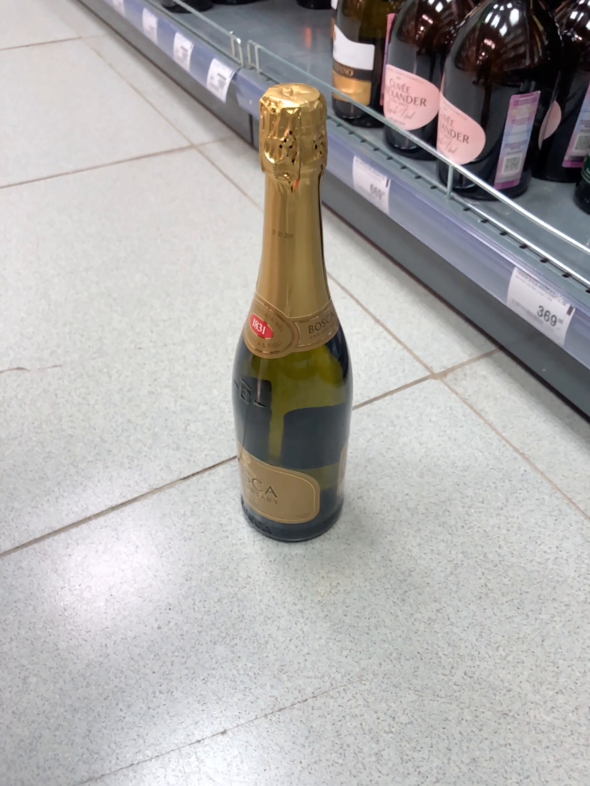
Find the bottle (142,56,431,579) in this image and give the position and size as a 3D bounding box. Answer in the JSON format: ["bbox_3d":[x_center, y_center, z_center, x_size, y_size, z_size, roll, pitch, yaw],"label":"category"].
[{"bbox_3d":[-0.007,-0.026,0.421,0.100,0.314,0.100,0,43,0],"label":"bottle"}]
